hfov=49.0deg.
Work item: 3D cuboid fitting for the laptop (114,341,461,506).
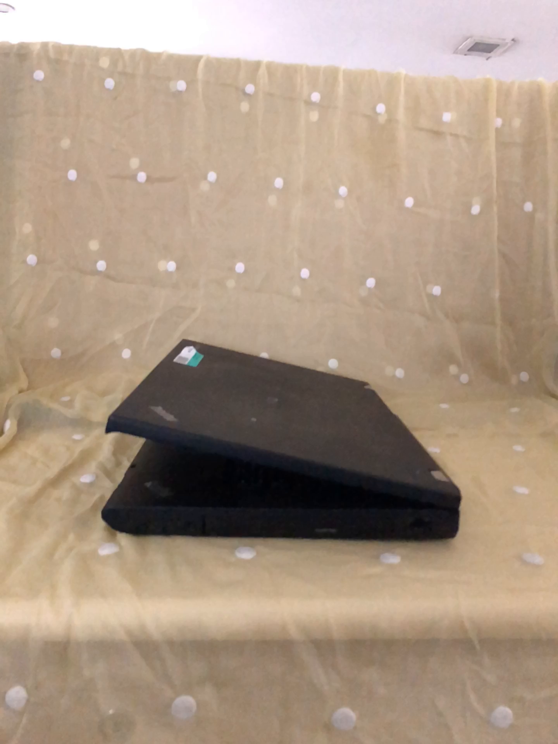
[{"bbox_3d":[0.000,0.025,0.576,0.225,0.050,0.357,0,12,0],"label":"laptop"}]
